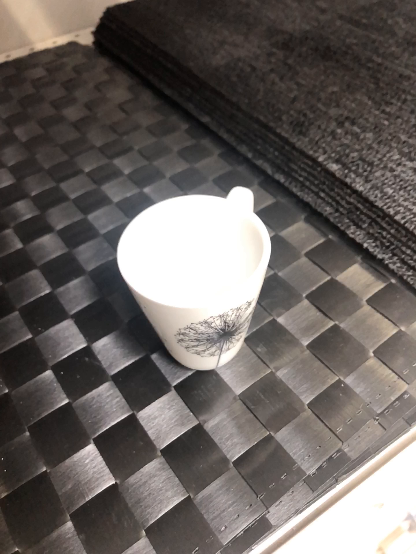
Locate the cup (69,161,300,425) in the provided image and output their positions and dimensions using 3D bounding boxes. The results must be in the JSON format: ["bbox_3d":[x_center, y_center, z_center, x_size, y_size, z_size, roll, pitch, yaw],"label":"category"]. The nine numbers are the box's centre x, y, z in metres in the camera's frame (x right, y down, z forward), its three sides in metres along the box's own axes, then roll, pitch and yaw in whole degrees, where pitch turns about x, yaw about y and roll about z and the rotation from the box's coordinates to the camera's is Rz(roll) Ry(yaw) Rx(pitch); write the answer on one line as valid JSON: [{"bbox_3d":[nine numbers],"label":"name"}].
[{"bbox_3d":[-0.006,0.005,0.203,0.056,0.060,0.081,23,54,15],"label":"cup"}]
